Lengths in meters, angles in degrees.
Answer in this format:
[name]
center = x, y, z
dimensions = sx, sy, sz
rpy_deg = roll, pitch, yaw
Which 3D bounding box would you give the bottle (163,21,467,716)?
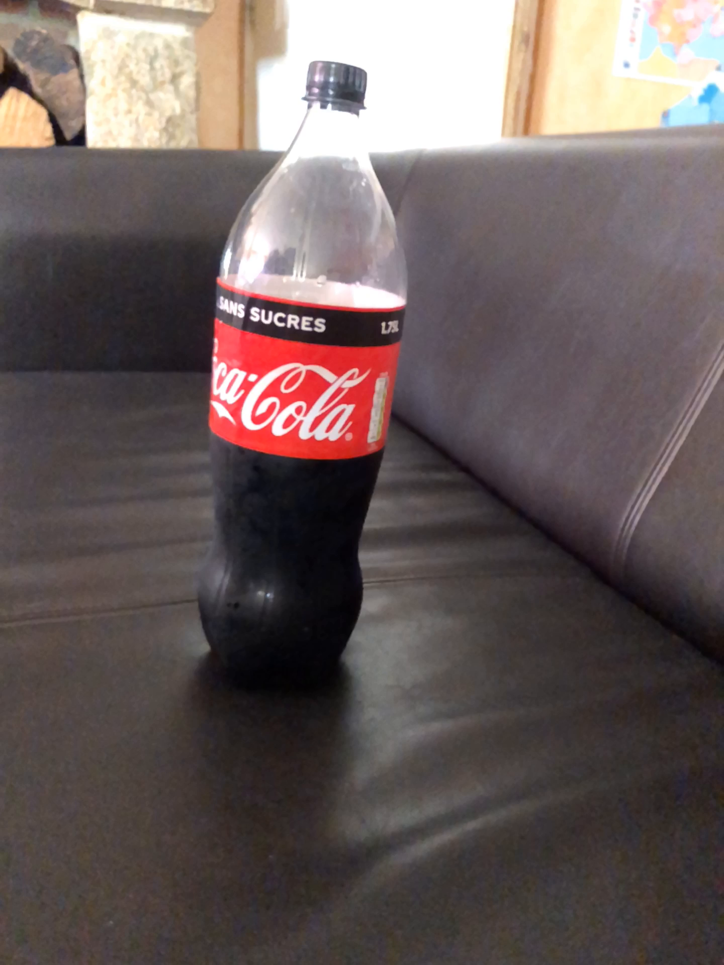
[bottle]
center = -0.031, -0.053, 0.426
dimensions = 0.100, 0.318, 0.101
rpy_deg = 5, 20, -2
